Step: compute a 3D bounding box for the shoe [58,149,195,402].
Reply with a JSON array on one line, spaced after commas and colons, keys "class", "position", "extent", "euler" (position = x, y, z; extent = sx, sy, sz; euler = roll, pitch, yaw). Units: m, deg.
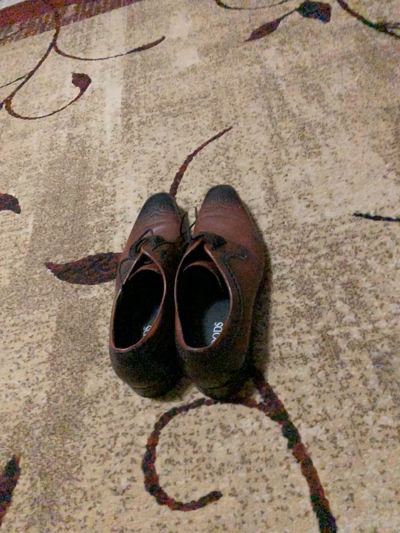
[{"class": "shoe", "position": [-0.067, 0.001, 0.486], "extent": [0.095, 0.115, 0.276], "euler": [-9, 52, 11]}]

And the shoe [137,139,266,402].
[{"class": "shoe", "position": [0.019, -0.004, 0.462], "extent": [0.095, 0.115, 0.276], "euler": [-4, 53, 14]}]
